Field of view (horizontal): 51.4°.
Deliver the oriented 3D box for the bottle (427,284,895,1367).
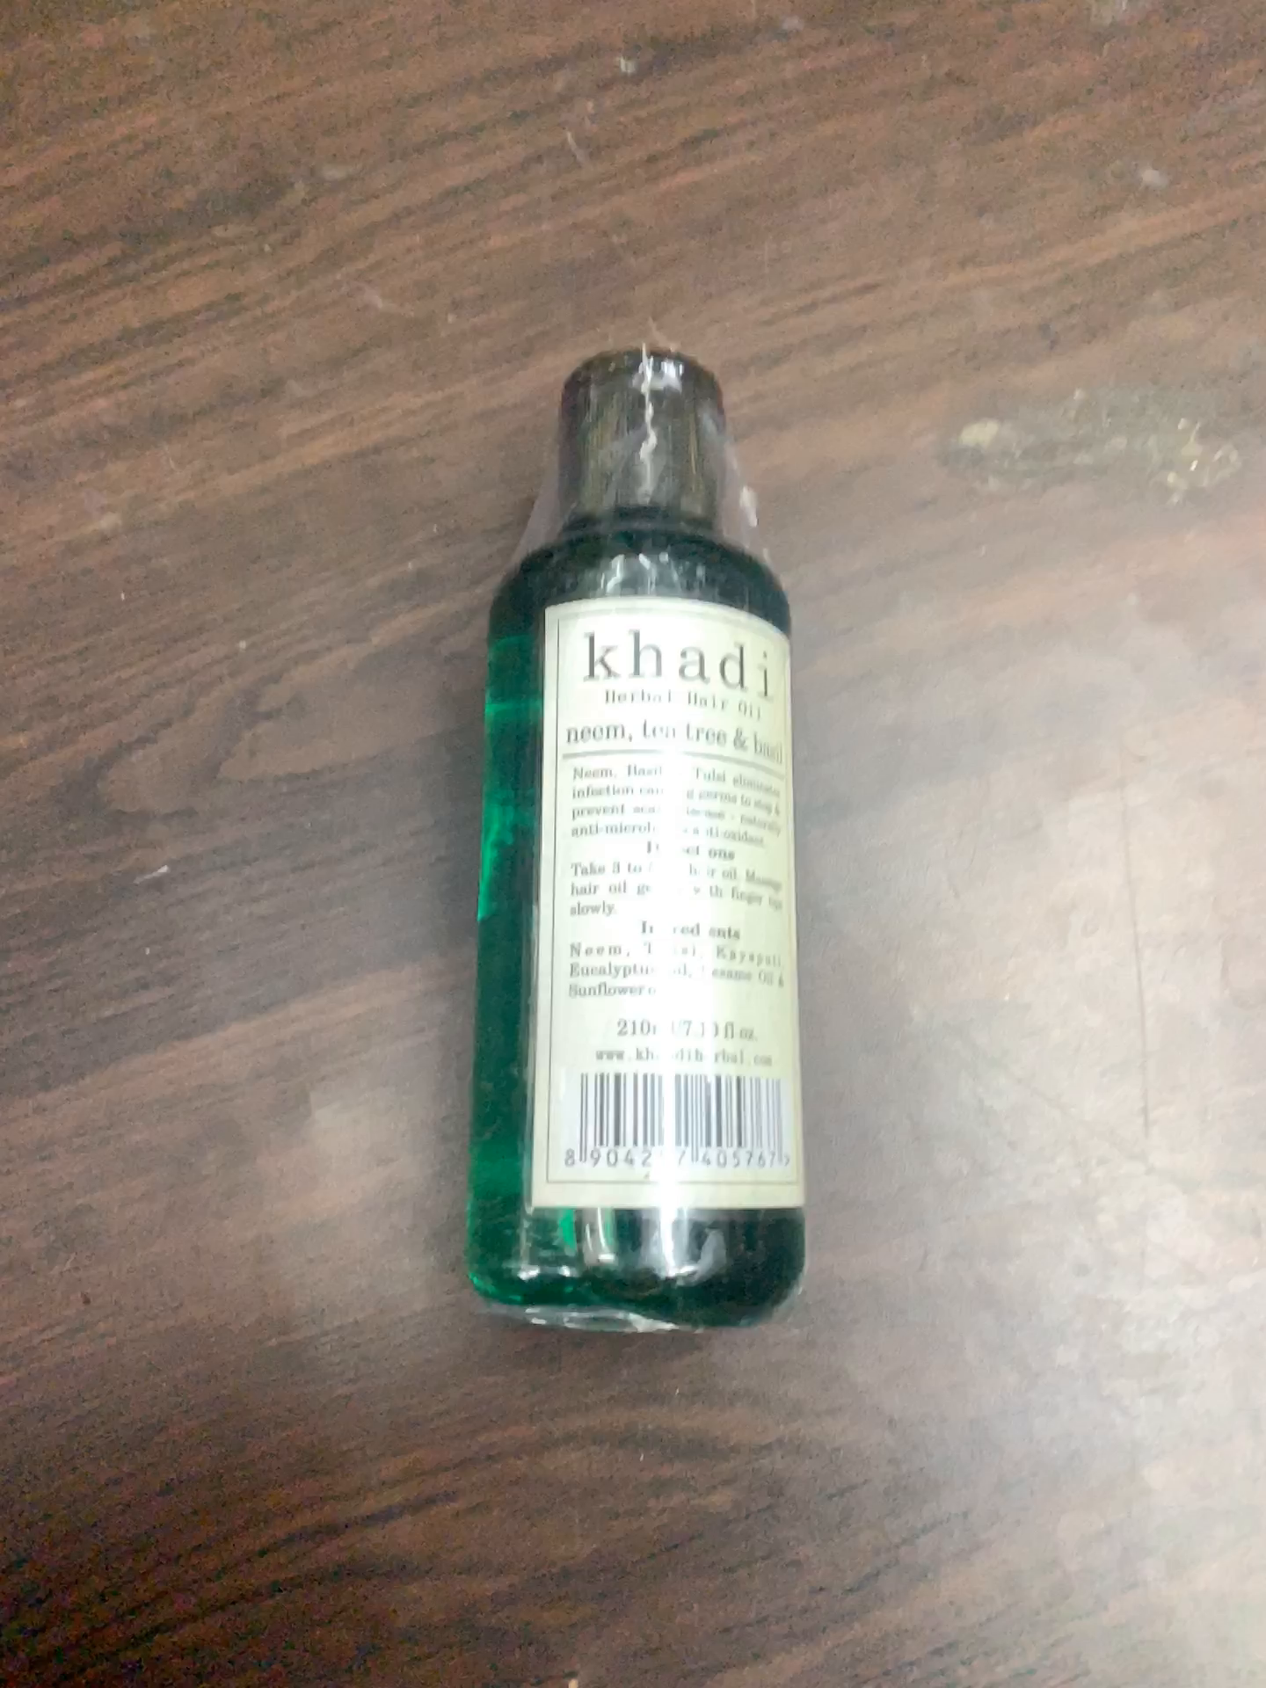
[{"bbox_3d":[0.002,-0.002,0.208,0.050,0.050,0.150,7,74,-25],"label":"bottle"}]
